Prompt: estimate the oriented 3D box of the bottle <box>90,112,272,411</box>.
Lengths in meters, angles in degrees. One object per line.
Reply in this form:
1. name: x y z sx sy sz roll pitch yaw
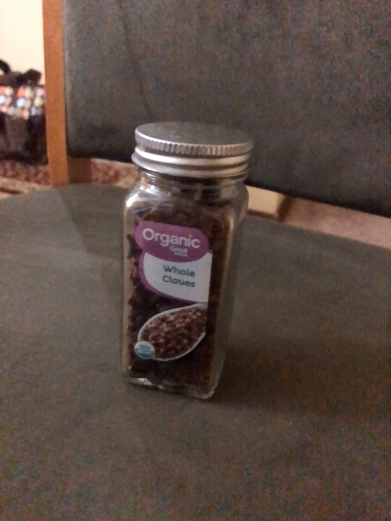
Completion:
1. bottle: -0.005 -0.001 0.175 0.050 0.100 0.050 3 27 -1
